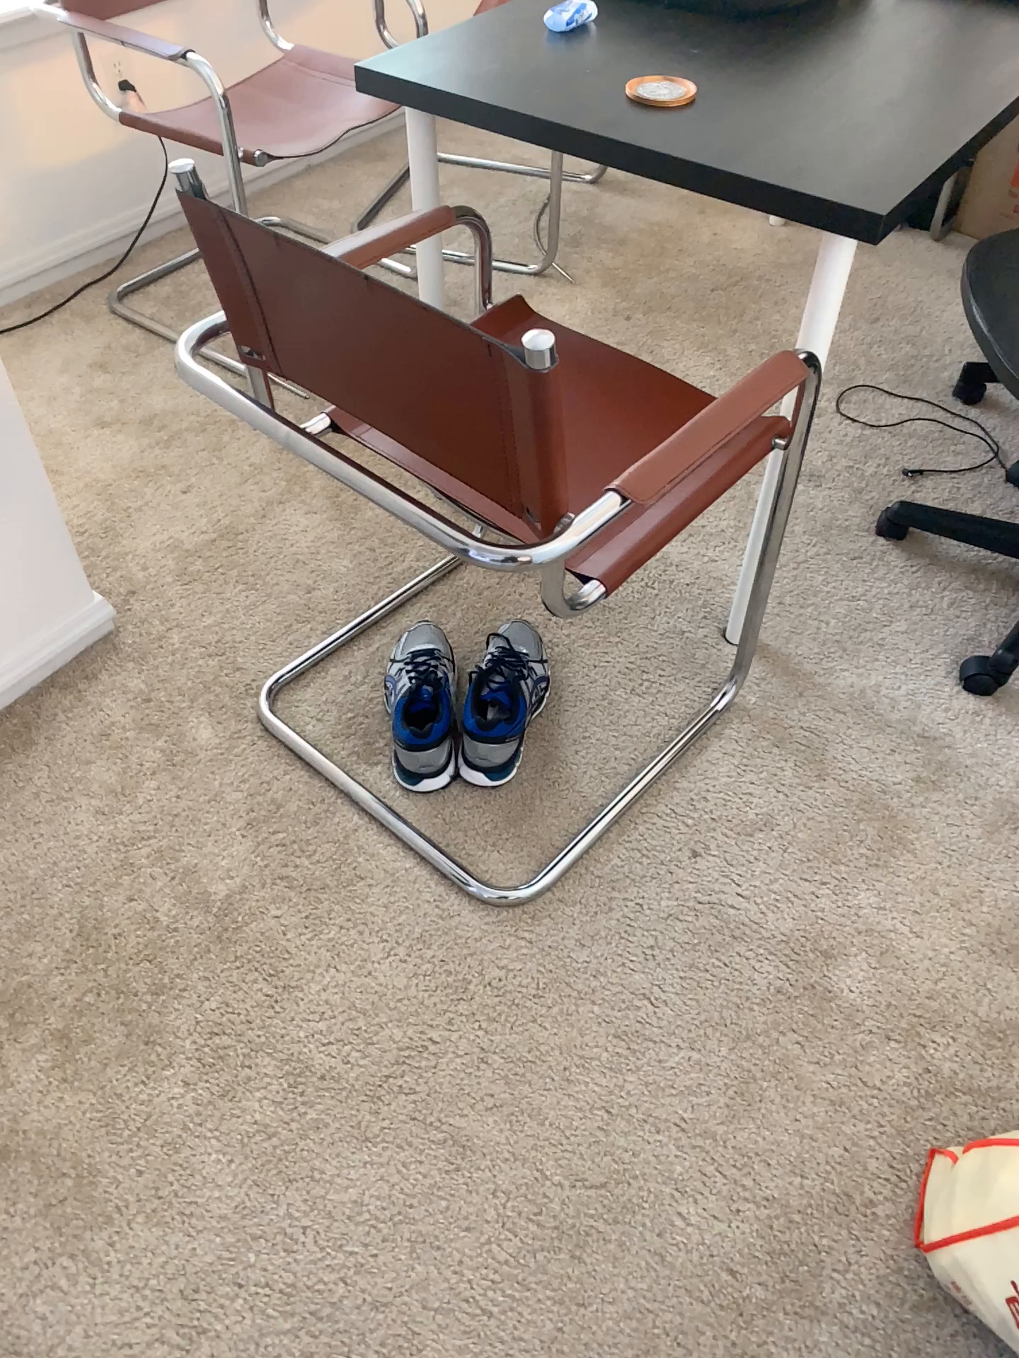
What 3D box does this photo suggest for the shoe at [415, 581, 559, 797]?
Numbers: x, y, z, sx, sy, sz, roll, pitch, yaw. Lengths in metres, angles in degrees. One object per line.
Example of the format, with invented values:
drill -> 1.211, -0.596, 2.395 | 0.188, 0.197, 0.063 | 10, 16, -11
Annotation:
shoe -> -0.026, 0.007, 1.520 | 0.130, 0.099, 0.311 | 11, 49, 9

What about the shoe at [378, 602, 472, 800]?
shoe -> -0.124, 0.027, 1.588 | 0.130, 0.099, 0.312 | -1, 48, -2
